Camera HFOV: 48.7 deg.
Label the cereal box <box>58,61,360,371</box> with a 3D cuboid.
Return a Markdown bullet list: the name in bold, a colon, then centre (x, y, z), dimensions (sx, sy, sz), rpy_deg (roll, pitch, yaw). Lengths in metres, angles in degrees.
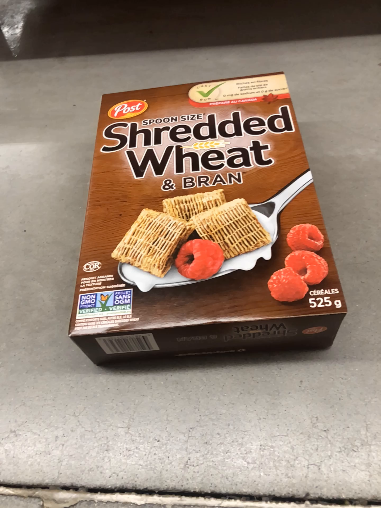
- **cereal box**: centre (0.009, -0.050, 0.385), dimensions (0.200, 0.070, 0.281), rpy_deg (-6, 56, 5)
